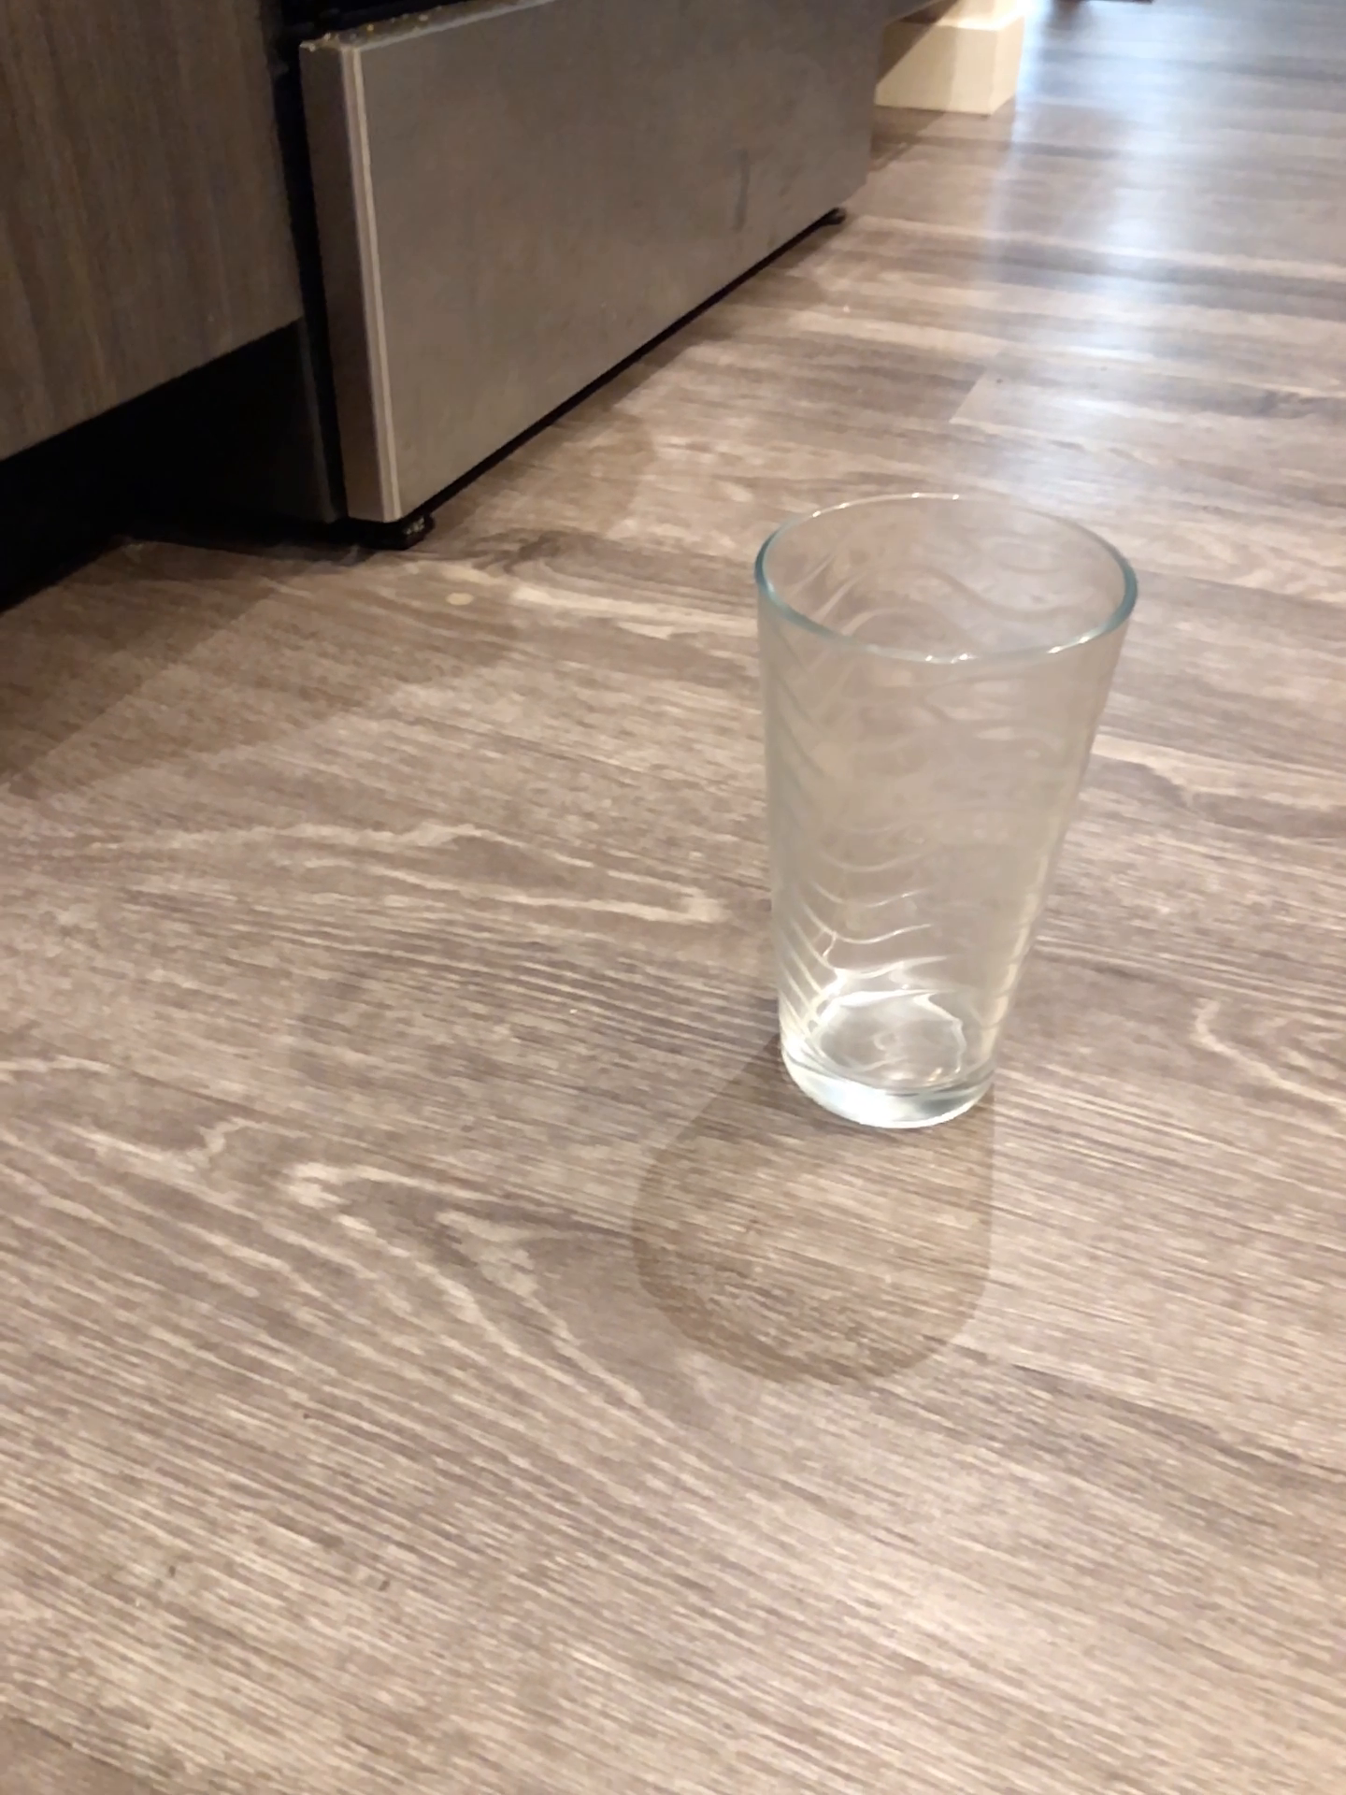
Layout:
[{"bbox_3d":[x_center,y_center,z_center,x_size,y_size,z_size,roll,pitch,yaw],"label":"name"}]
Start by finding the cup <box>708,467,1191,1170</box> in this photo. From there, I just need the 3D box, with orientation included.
[{"bbox_3d":[0.068,-0.021,0.386,0.090,0.139,0.090,1,37,0],"label":"cup"}]
